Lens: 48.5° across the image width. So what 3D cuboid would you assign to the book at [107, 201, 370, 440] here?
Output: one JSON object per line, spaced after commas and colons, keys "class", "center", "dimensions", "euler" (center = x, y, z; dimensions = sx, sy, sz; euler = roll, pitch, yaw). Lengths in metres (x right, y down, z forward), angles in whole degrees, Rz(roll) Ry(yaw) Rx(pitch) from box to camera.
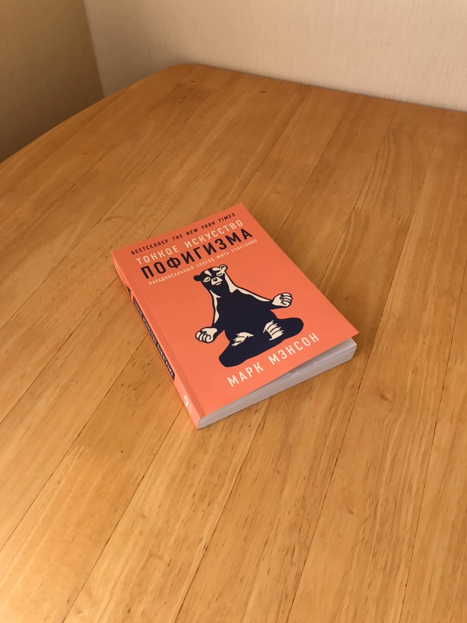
{"class": "book", "center": [-0.005, -0.008, 0.445], "dimensions": [0.143, 0.033, 0.197], "euler": [-22, 52, -18]}
